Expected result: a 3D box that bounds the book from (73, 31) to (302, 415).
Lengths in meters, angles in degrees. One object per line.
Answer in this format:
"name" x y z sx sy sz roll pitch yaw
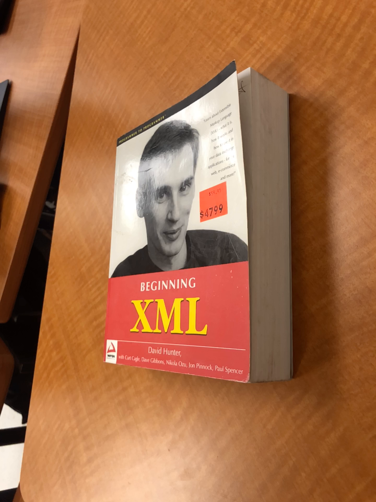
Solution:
"book" -0.011 -0.014 0.389 0.221 0.070 0.270 -9 75 47
